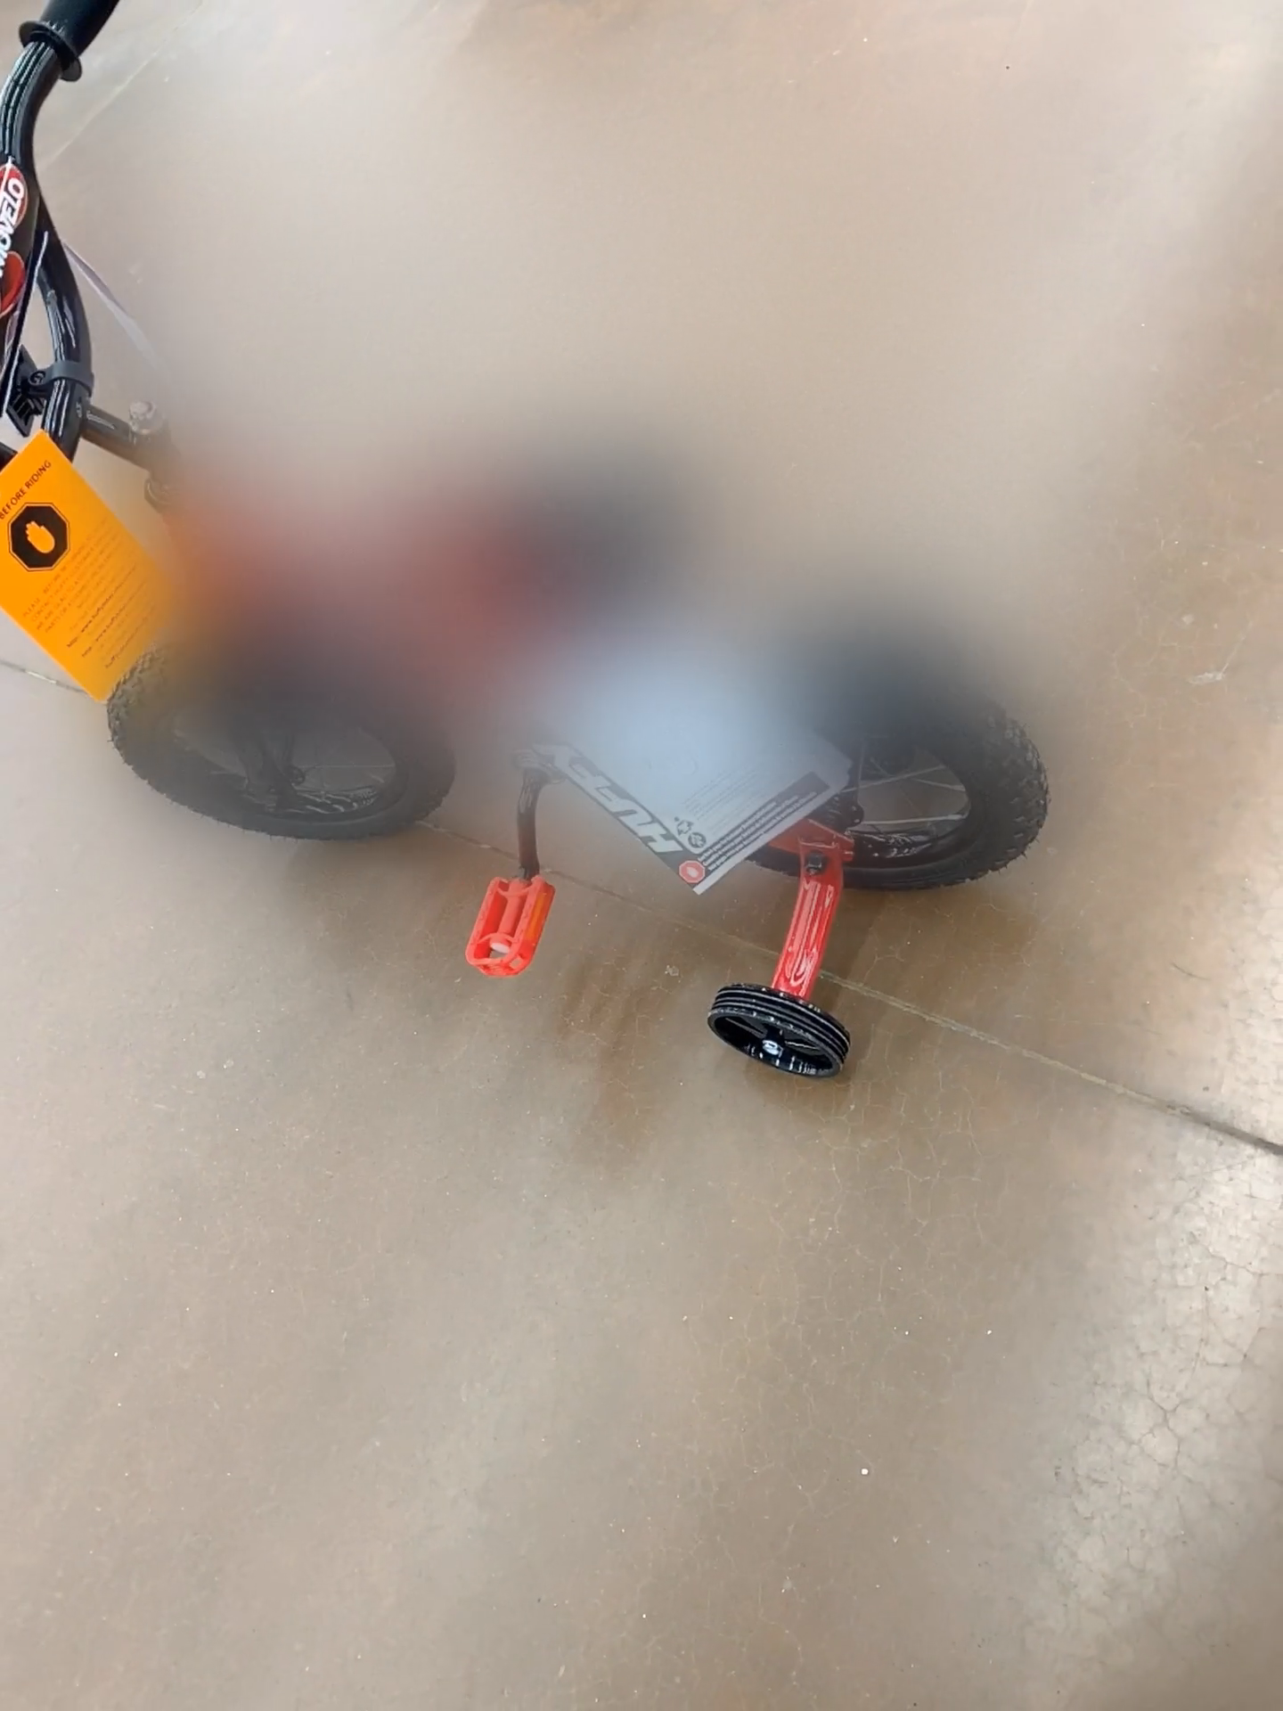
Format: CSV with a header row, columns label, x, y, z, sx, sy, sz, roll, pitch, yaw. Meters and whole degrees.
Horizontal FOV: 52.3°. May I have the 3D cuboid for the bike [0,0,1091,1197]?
label,x,y,z,sx,sy,sz,roll,pitch,yaw
bike,-0.155,-0.164,0.787,0.737,0.605,0.440,5,61,21
